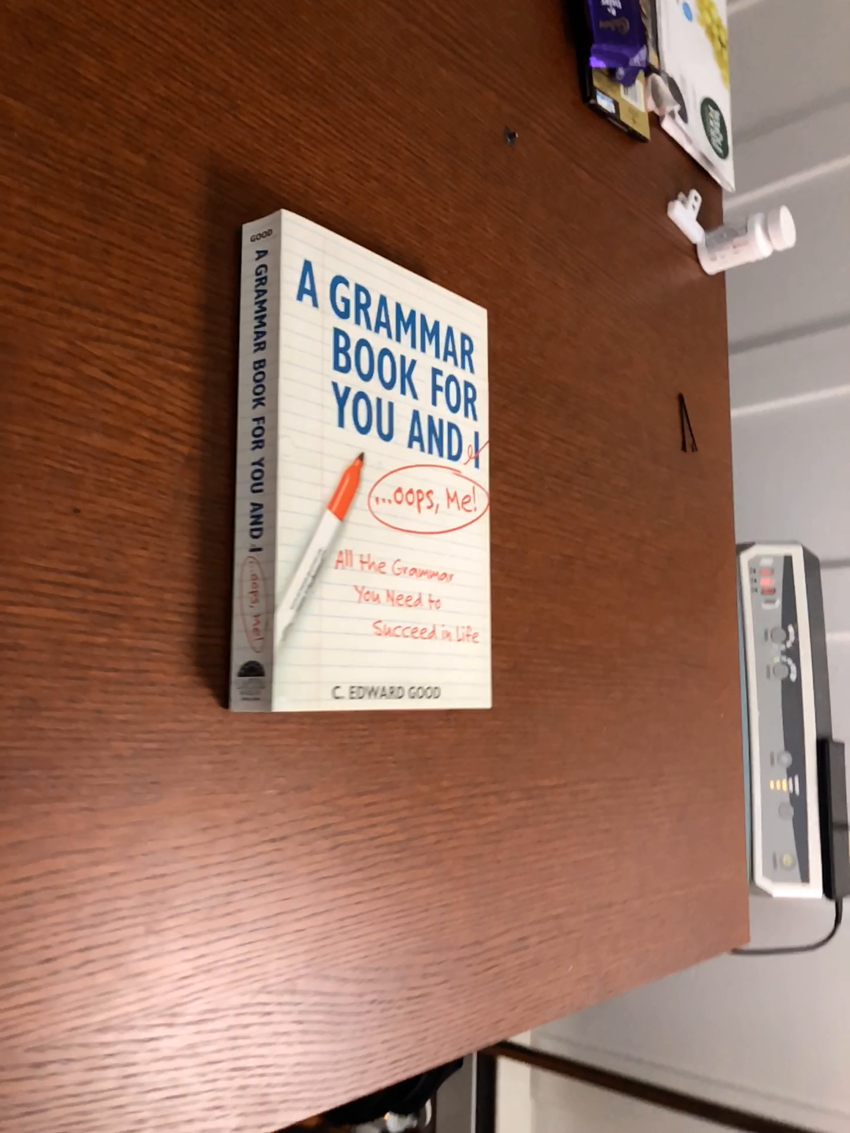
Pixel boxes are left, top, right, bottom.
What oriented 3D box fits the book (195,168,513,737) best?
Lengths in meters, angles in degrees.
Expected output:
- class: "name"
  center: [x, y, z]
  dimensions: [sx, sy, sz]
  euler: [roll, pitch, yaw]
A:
- class: "book"
  center: [-0.025, -0.041, 0.459]
  dimensions: [0.171, 0.040, 0.240]
  euler: [10, 77, -48]
